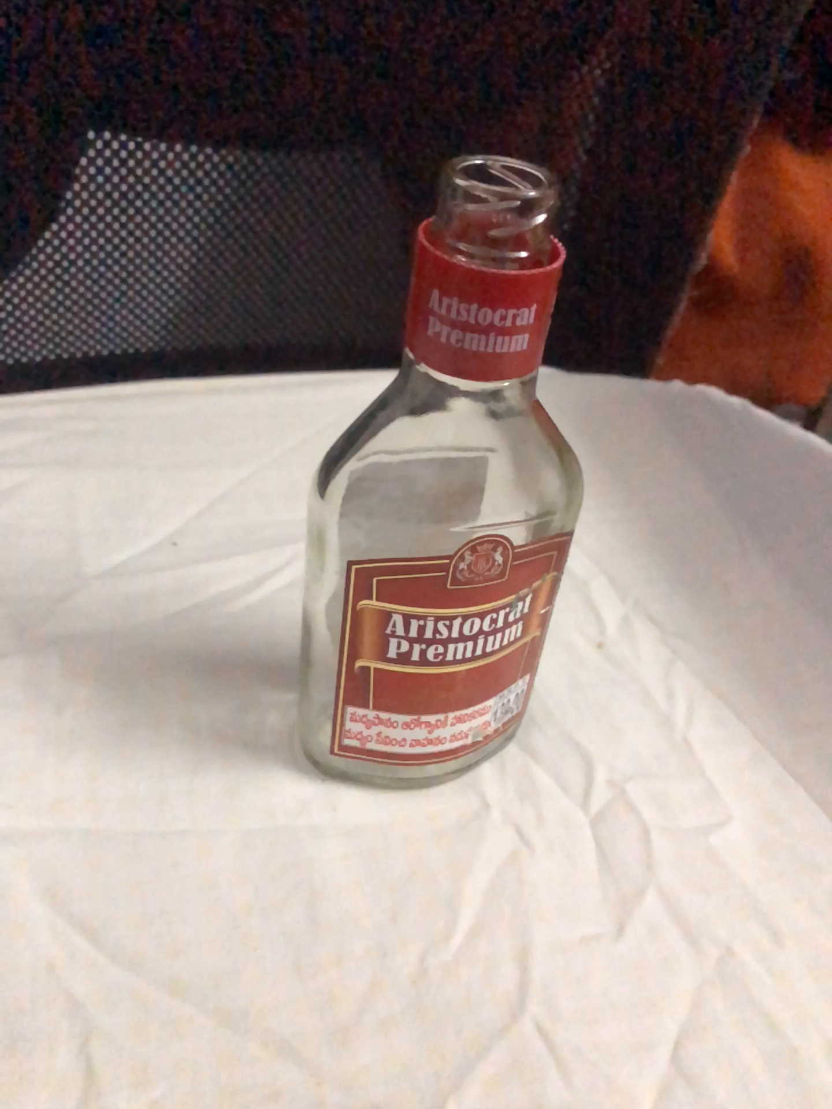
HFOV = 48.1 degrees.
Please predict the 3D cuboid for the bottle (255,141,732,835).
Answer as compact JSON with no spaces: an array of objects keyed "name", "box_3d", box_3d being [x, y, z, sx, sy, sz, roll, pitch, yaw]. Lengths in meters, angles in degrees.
[{"name":"bottle","box_3d":[0.006,-0.005,0.240,0.080,0.179,0.040,-7,42,-20]}]
